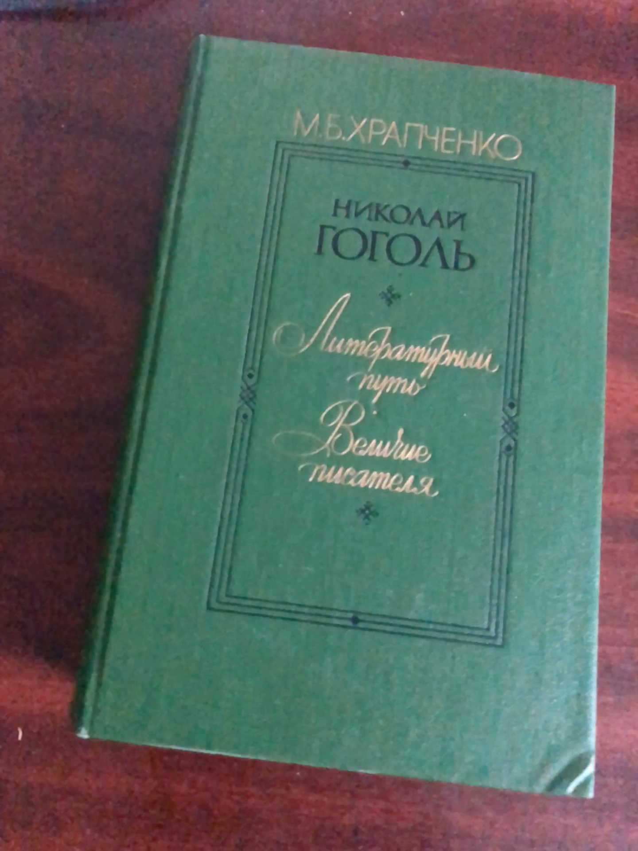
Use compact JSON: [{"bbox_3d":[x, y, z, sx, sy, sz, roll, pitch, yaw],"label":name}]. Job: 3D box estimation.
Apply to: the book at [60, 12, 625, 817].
[{"bbox_3d":[0.015,-0.010,0.213,0.129,0.050,0.206,6,77,0],"label":"book"}]
